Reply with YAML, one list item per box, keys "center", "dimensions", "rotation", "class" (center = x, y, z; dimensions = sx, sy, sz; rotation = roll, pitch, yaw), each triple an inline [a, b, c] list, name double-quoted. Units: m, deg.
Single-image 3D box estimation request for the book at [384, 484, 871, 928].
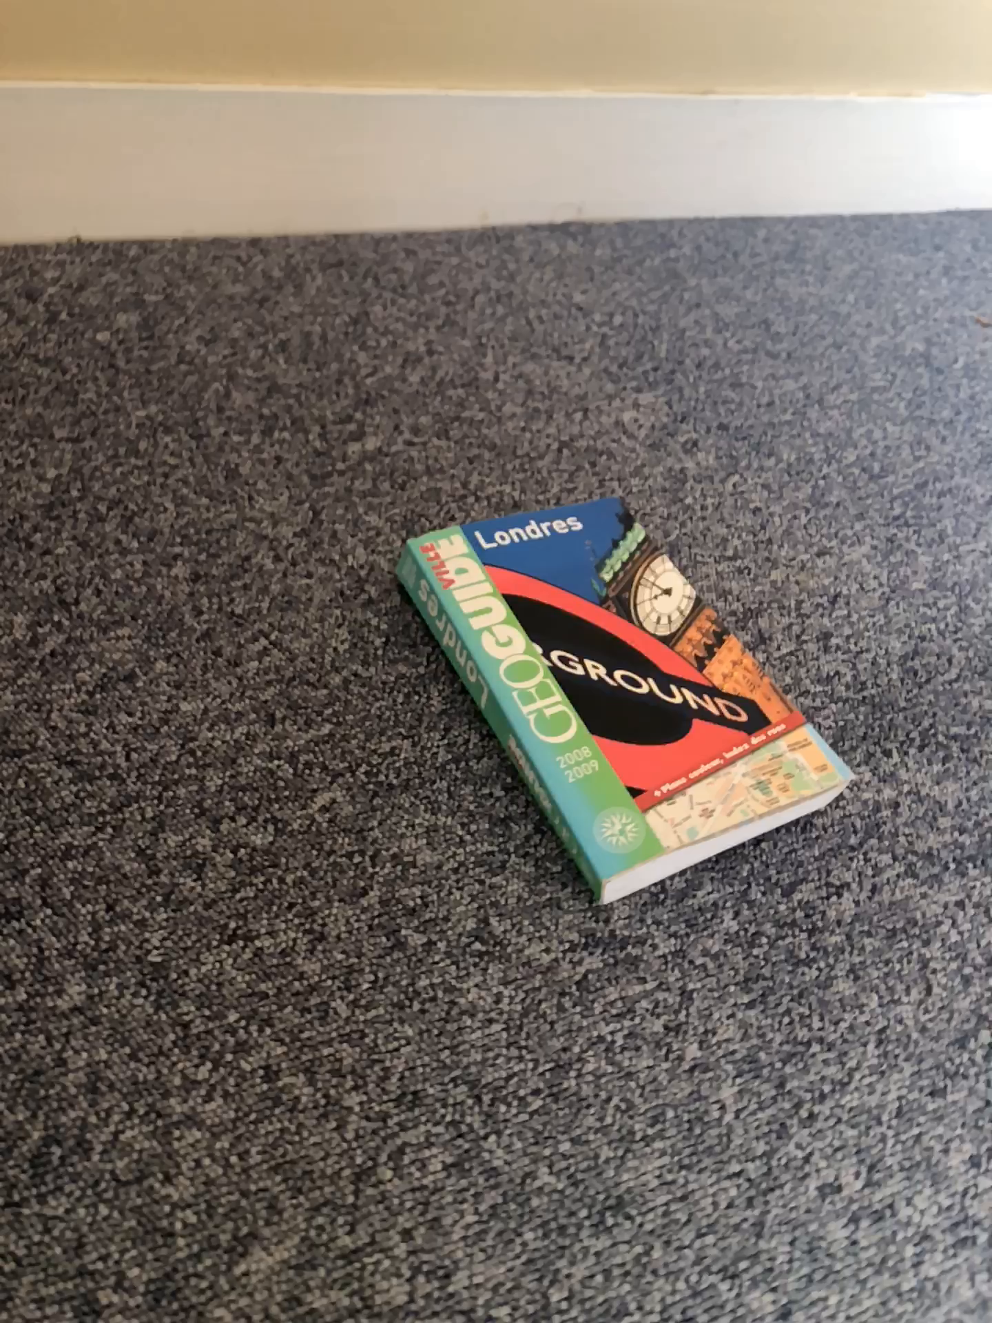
- center: [0.050, 0.006, 0.490]
  dimensions: [0.131, 0.030, 0.201]
  rotation: [-15, 53, -25]
  class: "book"
